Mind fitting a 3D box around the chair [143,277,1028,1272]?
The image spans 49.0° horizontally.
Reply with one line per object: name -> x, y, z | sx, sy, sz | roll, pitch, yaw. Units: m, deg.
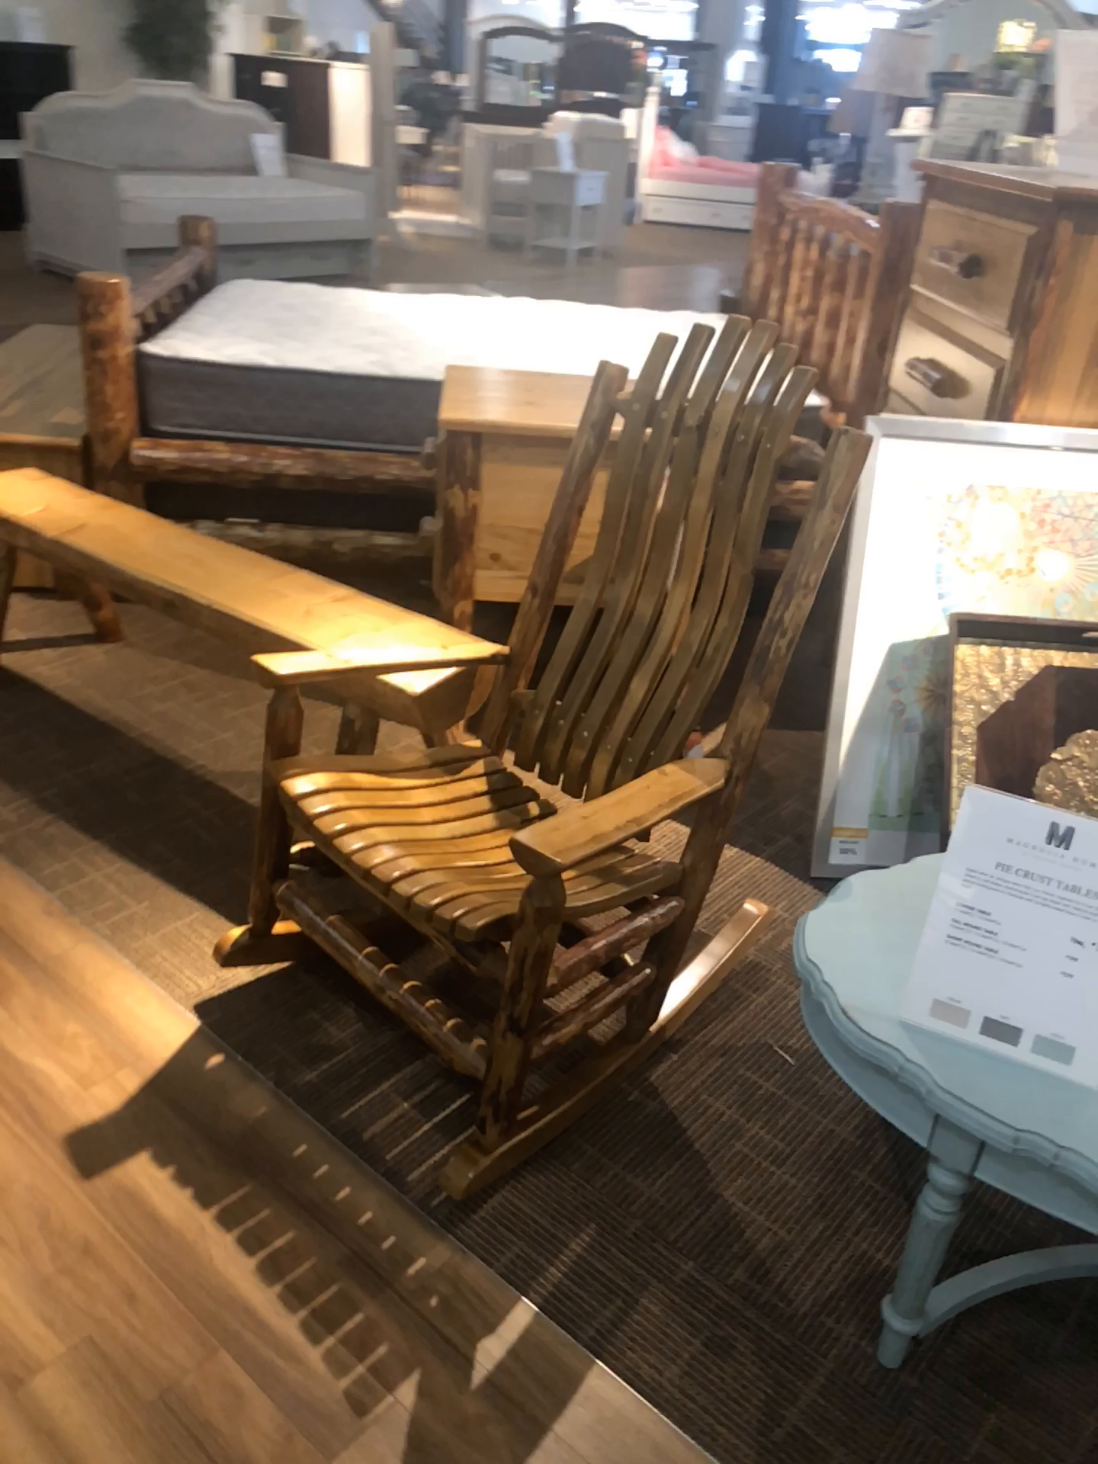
chair -> 0.025, -0.044, 1.778 | 0.886, 1.049, 0.719 | -20, 37, -40
